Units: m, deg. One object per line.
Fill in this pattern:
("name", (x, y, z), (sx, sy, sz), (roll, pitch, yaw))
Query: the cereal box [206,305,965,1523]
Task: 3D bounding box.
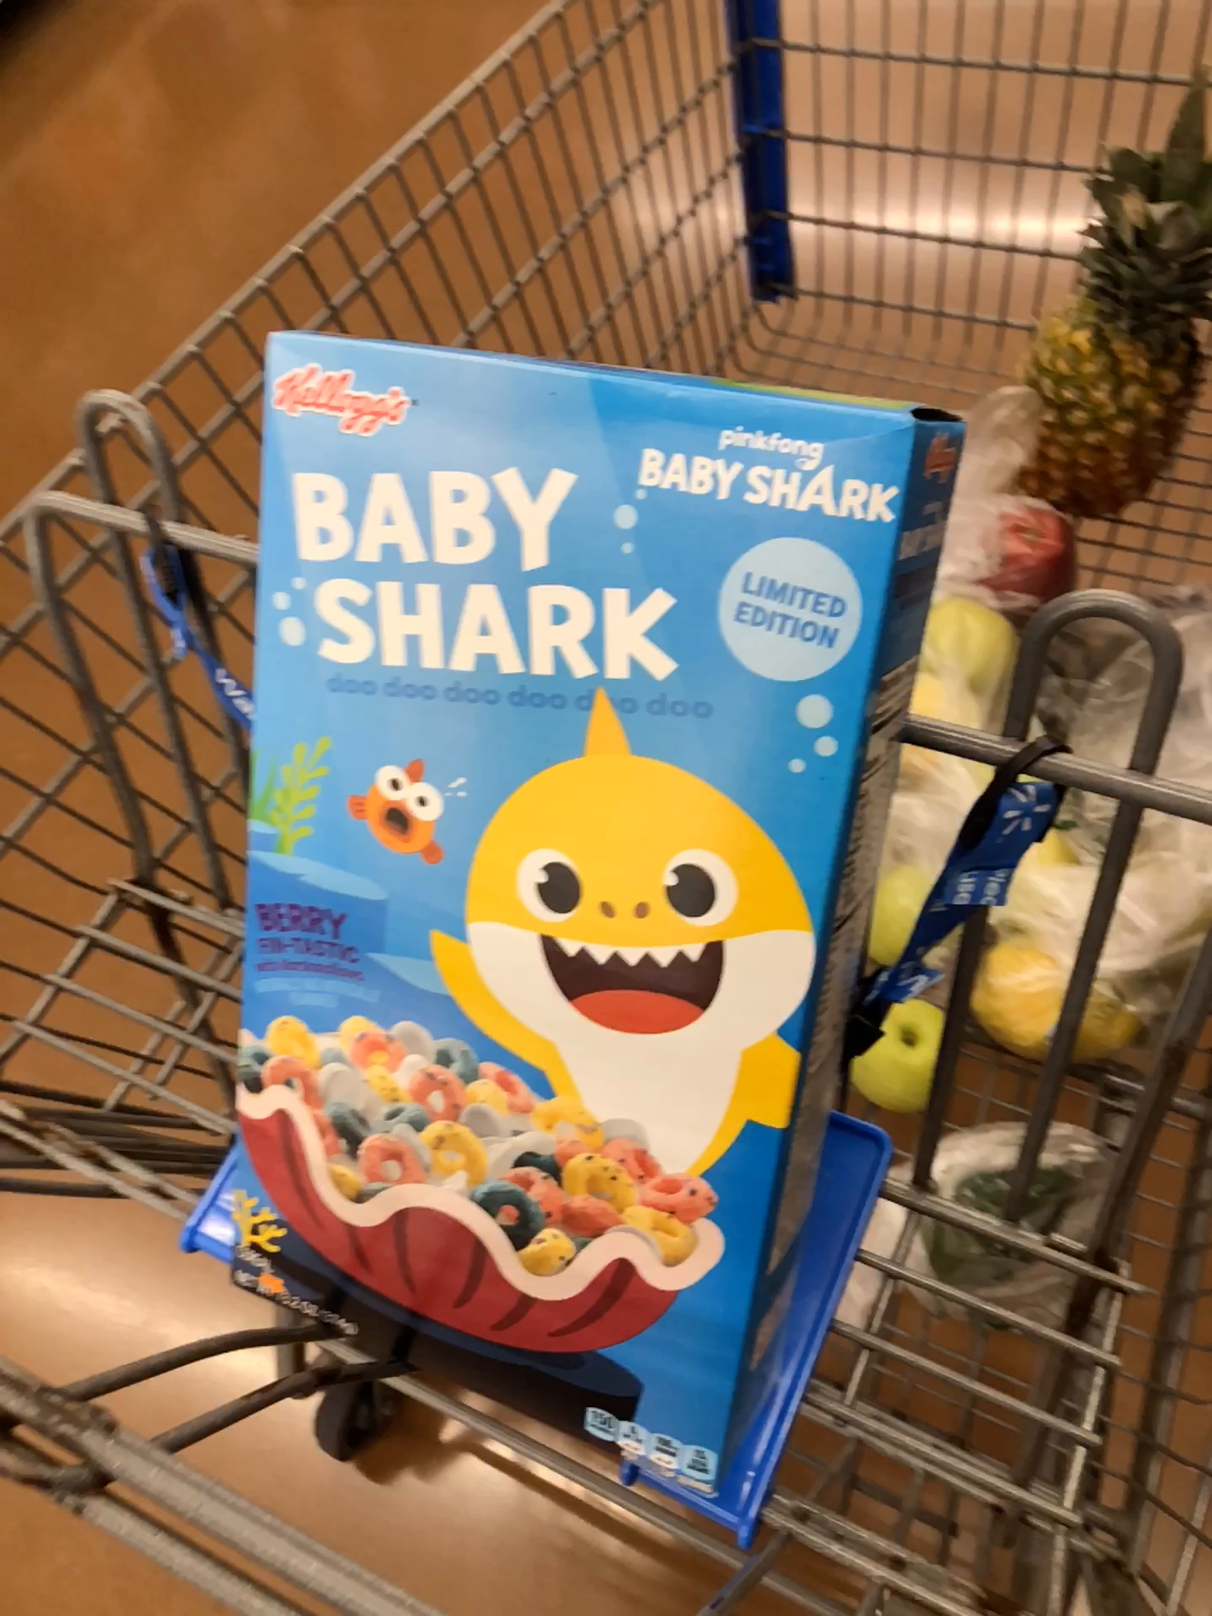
("cereal box", (-0.024, 0.033, 0.427), (0.190, 0.340, 0.070), (16, 21, 21))
